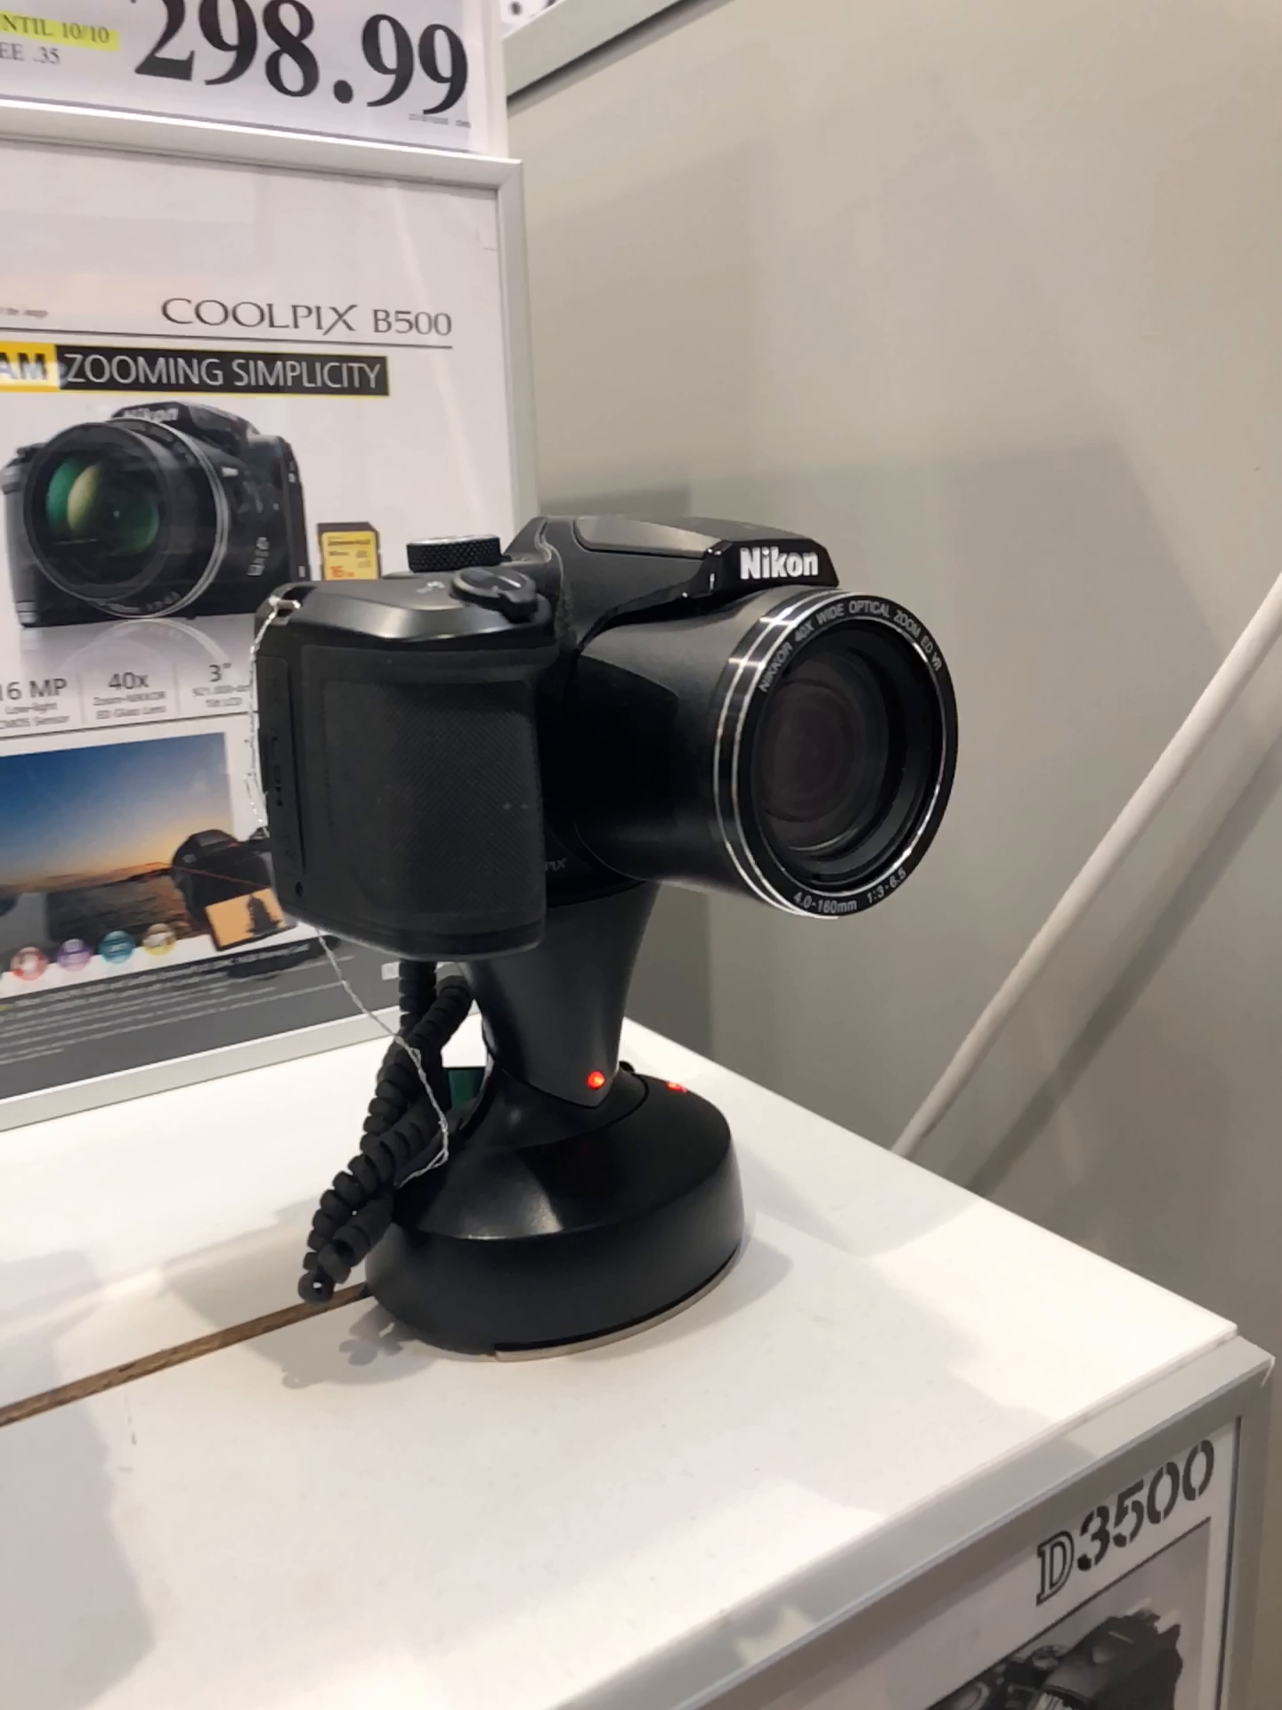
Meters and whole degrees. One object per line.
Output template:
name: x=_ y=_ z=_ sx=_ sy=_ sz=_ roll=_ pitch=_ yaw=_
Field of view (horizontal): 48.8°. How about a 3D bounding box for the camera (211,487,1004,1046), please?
camera: x=-0.005 y=-0.028 z=0.276 sx=0.120 sy=0.080 sz=0.090 roll=-12 pitch=17 yaw=-36
